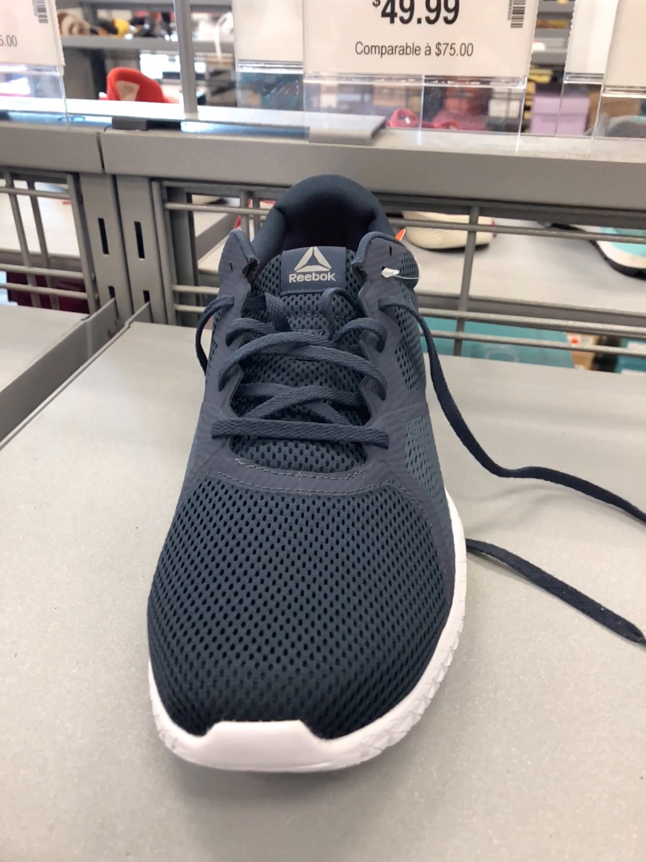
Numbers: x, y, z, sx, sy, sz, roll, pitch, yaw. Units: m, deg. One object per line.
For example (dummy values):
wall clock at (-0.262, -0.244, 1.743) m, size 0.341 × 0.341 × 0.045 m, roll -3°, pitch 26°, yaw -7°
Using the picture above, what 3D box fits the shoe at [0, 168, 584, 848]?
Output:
shoe at (0.005, -0.019, 0.311) m, size 0.120 × 0.109 × 0.323 m, roll 3°, pitch 32°, yaw 4°
